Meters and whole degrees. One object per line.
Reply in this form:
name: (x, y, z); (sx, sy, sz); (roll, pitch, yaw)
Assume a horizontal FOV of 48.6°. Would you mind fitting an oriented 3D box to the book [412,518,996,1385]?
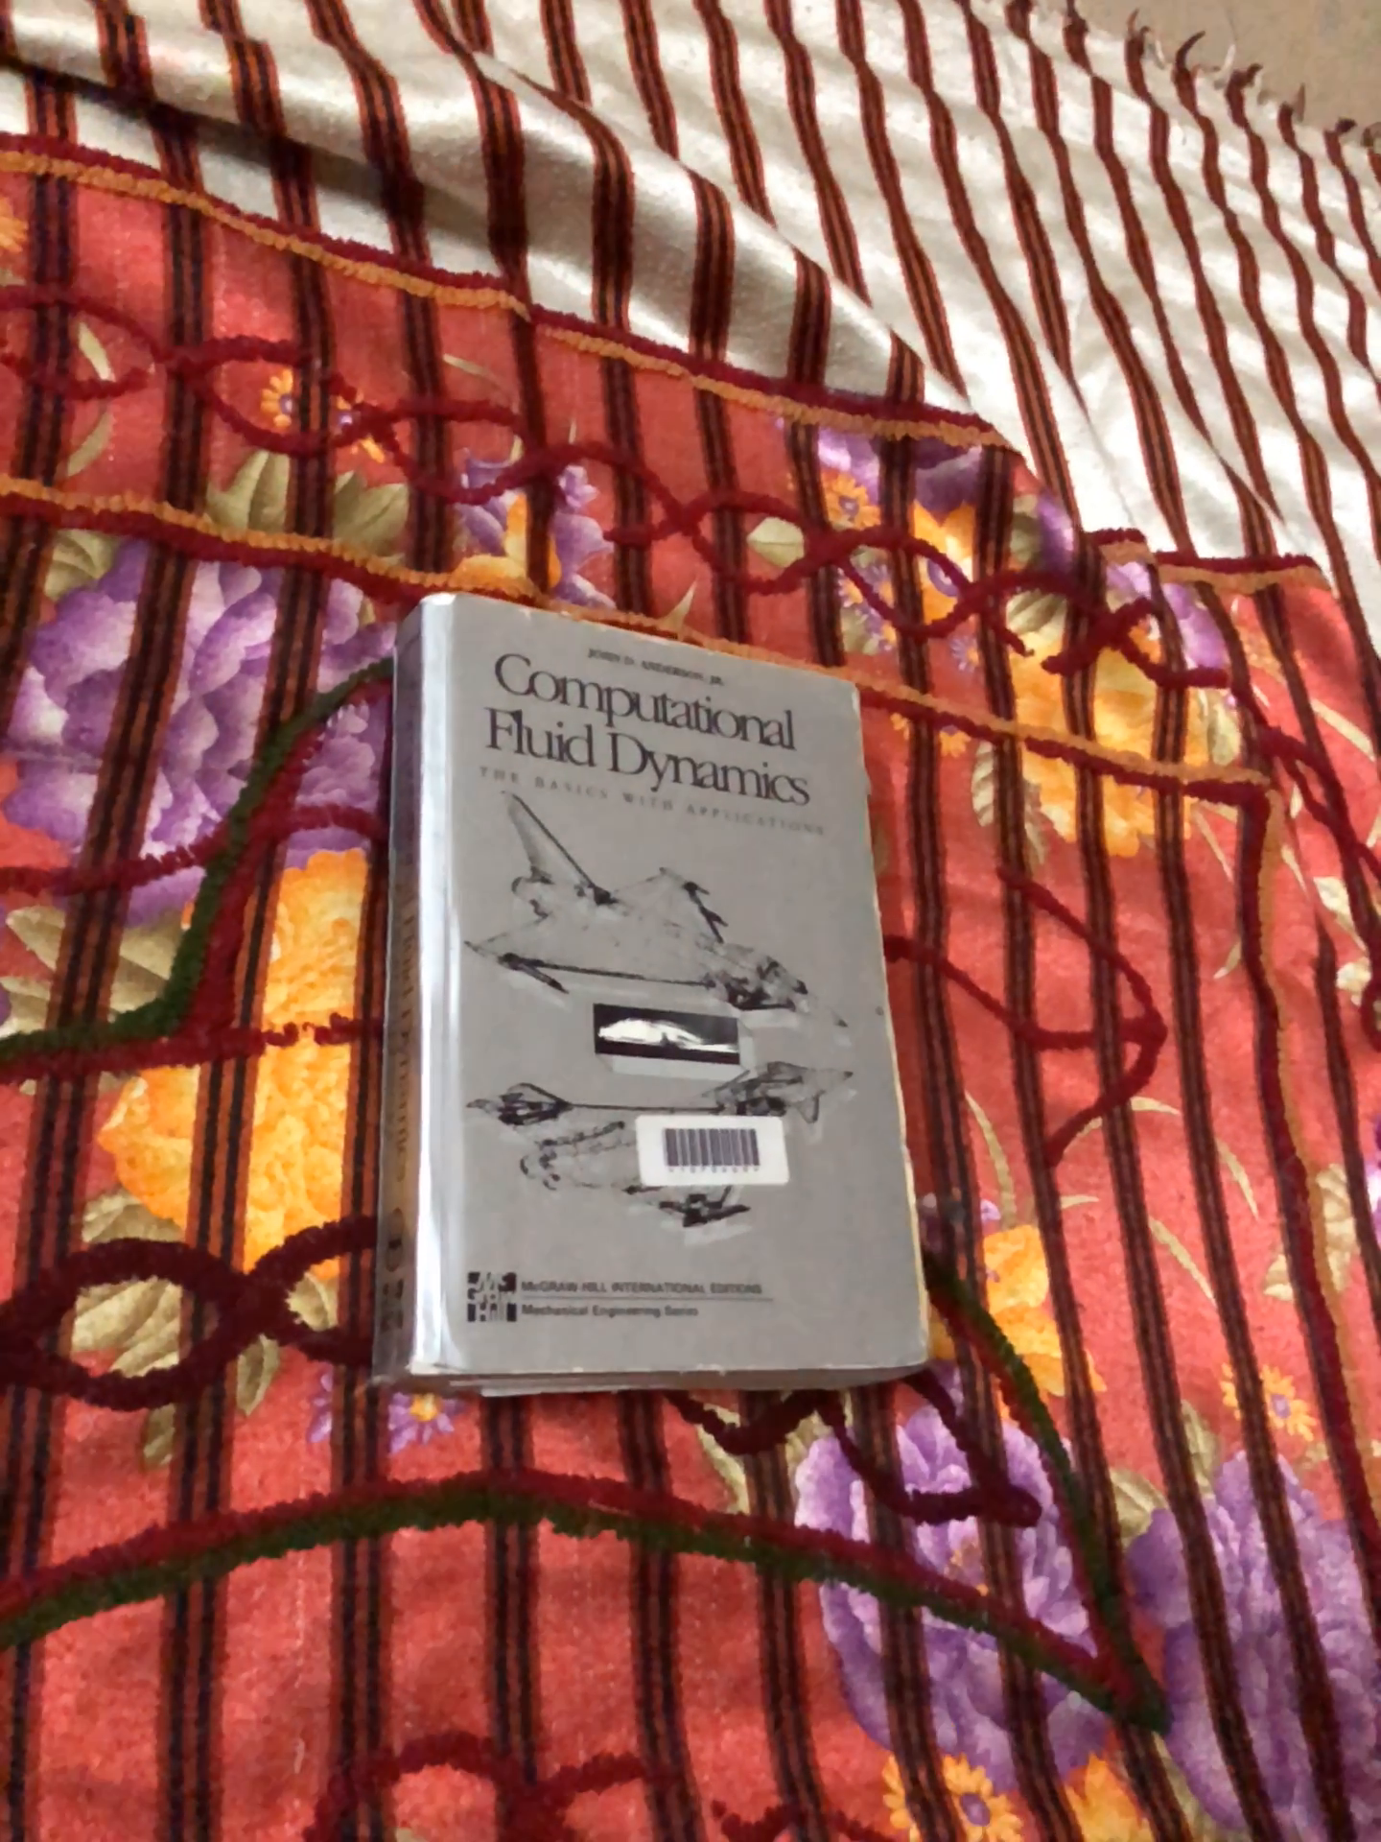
book: (0.001, 0.013, 0.486); (0.161, 0.060, 0.250); (7, 68, -26)
